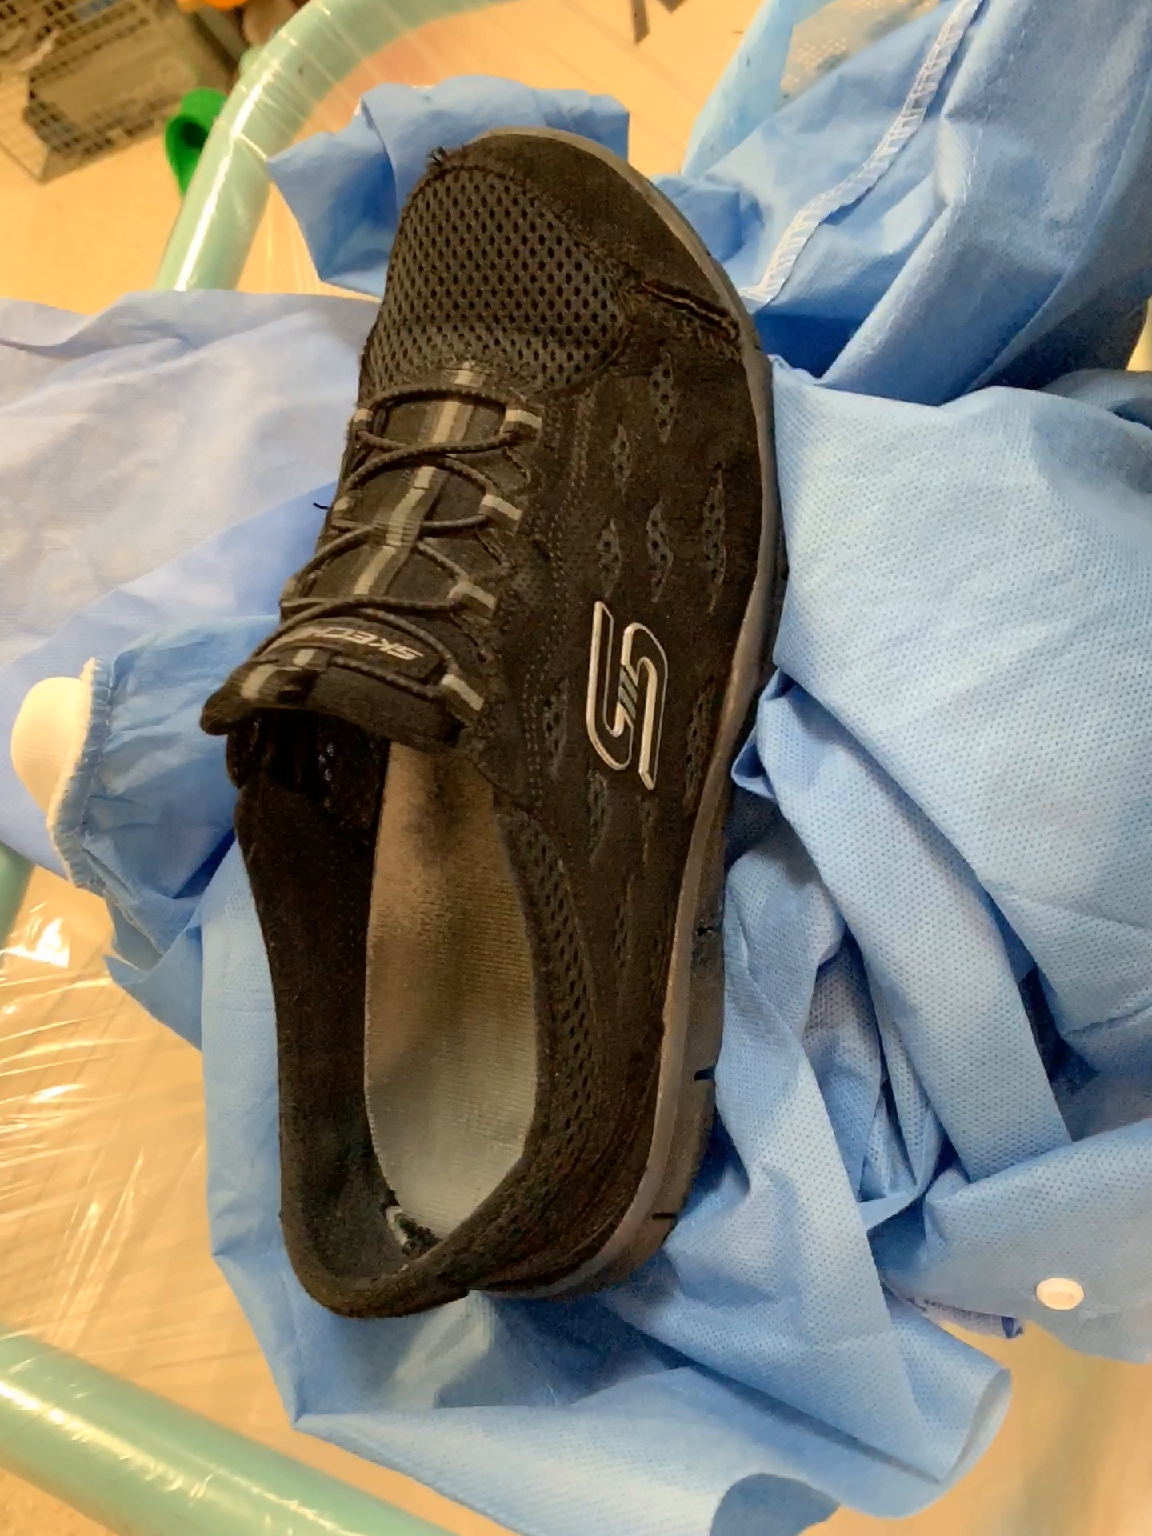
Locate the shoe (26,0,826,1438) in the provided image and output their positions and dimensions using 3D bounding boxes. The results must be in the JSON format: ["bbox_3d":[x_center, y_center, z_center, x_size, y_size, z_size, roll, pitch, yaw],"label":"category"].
[{"bbox_3d":[-0.015,-0.016,0.257,0.088,0.094,0.254,2,74,28],"label":"shoe"}]
